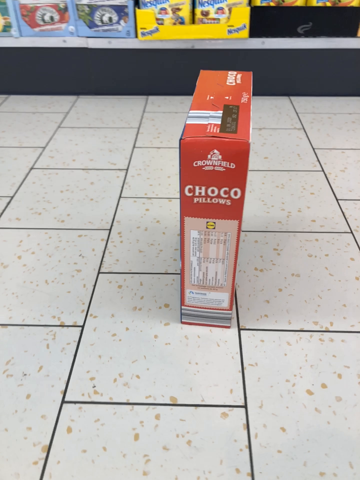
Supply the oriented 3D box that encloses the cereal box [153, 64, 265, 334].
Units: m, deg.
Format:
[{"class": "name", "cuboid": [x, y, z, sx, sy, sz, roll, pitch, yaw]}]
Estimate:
[{"class": "cereal box", "cuboid": [0.039, -0.053, 0.474, 0.090, 0.239, 0.211, 5, 39, 7]}]
